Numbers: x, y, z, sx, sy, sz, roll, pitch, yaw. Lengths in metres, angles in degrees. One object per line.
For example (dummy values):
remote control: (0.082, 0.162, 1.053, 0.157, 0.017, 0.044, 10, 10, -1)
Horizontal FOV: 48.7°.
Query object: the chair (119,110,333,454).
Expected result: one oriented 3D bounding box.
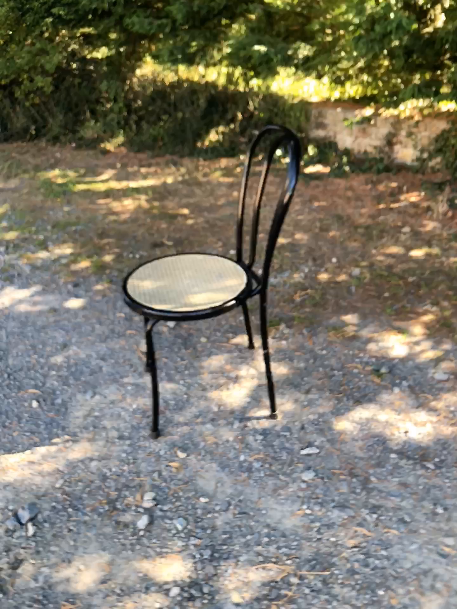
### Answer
chair: (-0.035, -0.071, 1.494, 0.470, 0.875, 0.432, -6, 29, -10)
